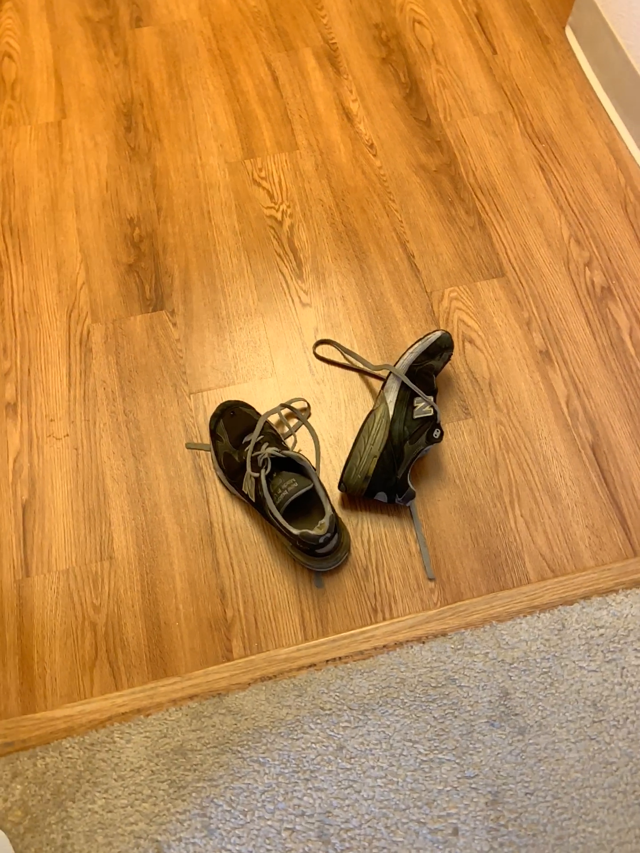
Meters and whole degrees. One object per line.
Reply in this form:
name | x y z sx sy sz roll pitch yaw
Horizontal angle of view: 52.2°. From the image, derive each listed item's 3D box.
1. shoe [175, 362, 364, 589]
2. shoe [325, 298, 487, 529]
shoe | -0.080 0.081 1.054 0.120 0.170 0.321 -35 70 -14
shoe | 0.143 -0.024 1.023 0.120 0.130 0.320 20 68 20
